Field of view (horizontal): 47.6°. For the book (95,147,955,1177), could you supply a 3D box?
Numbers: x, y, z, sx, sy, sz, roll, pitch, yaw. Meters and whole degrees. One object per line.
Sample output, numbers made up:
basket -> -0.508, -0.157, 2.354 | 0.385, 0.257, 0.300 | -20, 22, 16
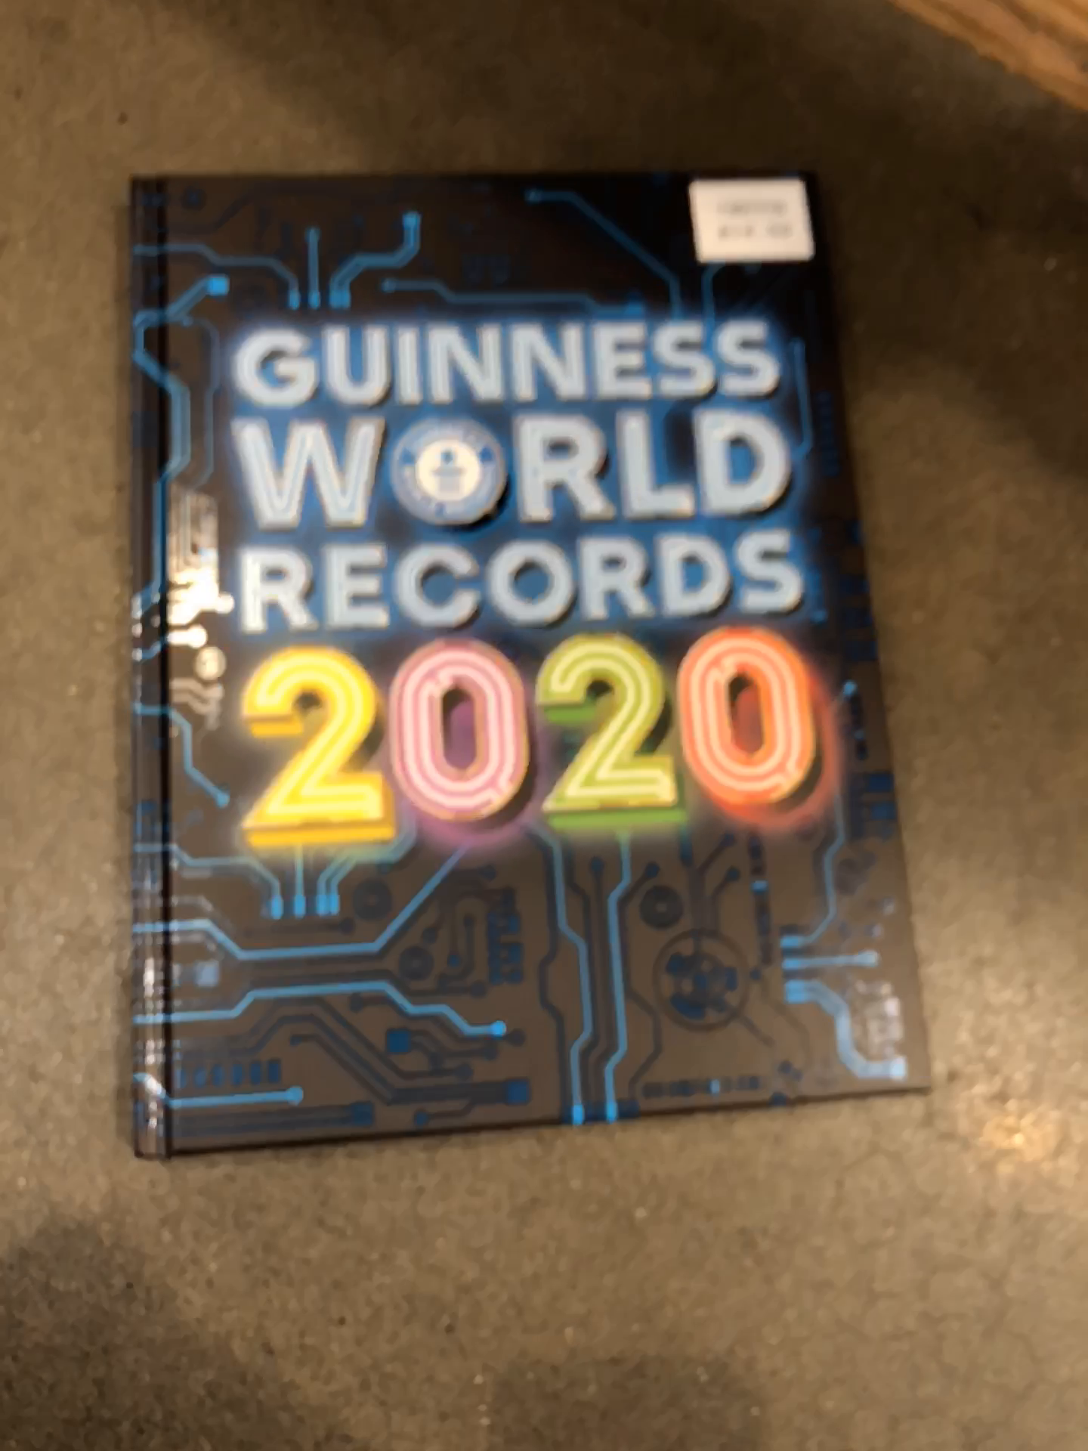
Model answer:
book -> -0.013, -0.035, 0.389 | 0.240, 0.030, 0.312 | -3, 78, -6
